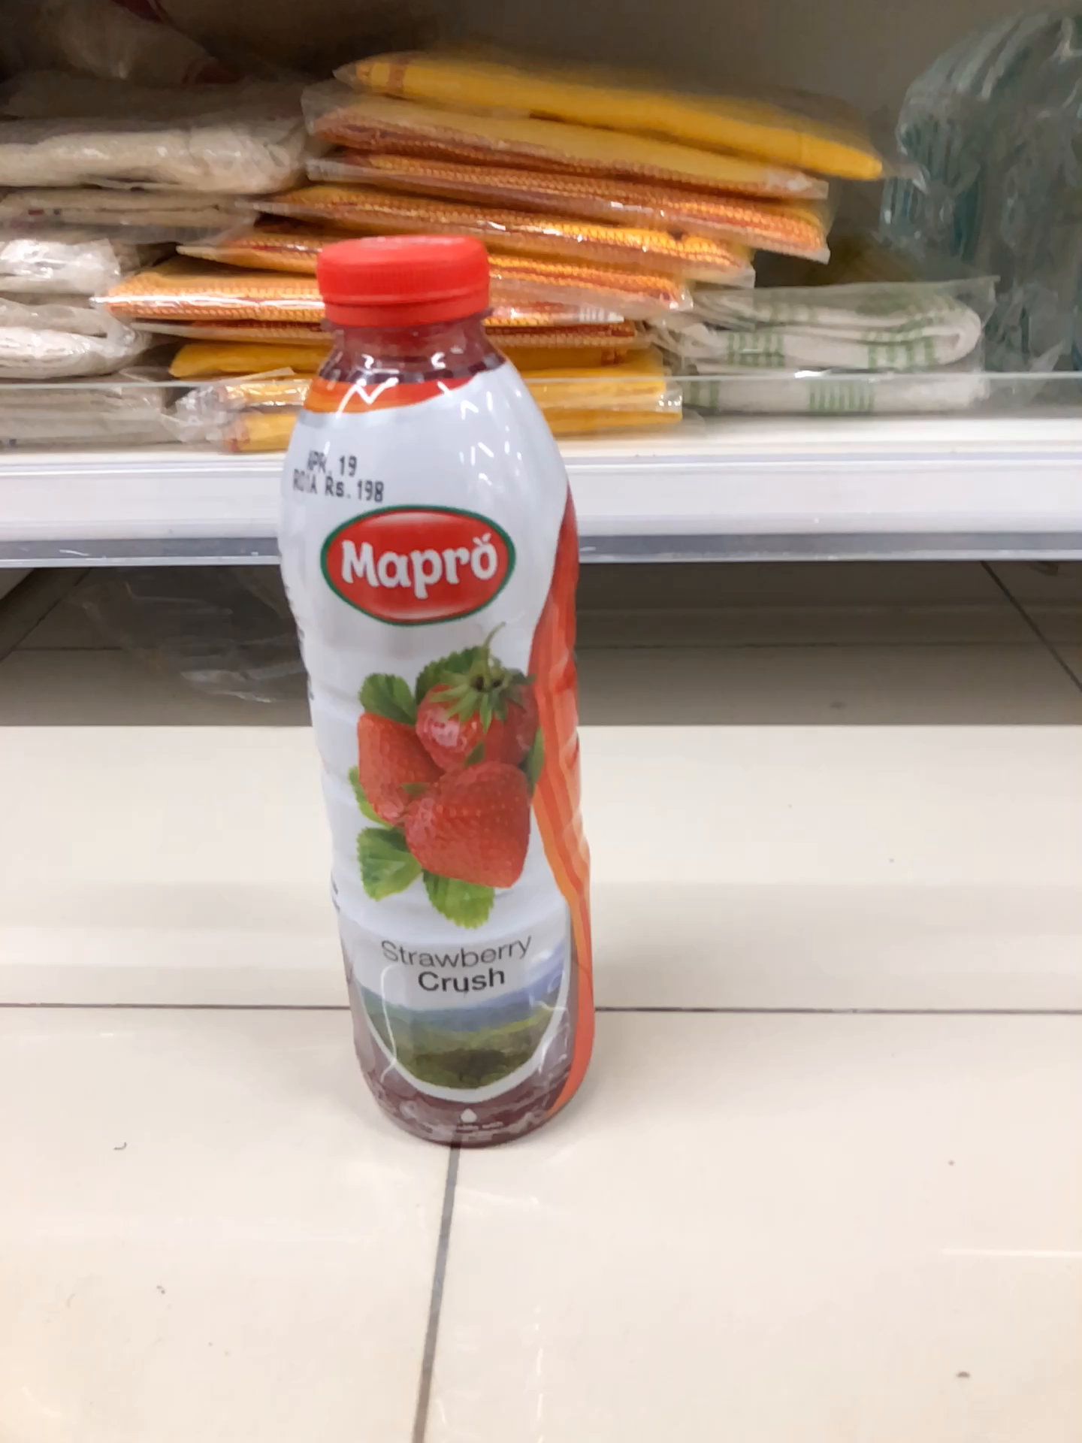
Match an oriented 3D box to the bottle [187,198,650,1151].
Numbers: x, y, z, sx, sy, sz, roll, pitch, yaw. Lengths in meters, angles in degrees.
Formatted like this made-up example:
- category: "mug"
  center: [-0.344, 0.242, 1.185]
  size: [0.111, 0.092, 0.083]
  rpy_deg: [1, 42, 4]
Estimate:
- category: "bottle"
  center: [-0.019, -0.002, 0.325]
  size: [0.090, 0.248, 0.081]
  rpy_deg: [-1, 29, 2]
